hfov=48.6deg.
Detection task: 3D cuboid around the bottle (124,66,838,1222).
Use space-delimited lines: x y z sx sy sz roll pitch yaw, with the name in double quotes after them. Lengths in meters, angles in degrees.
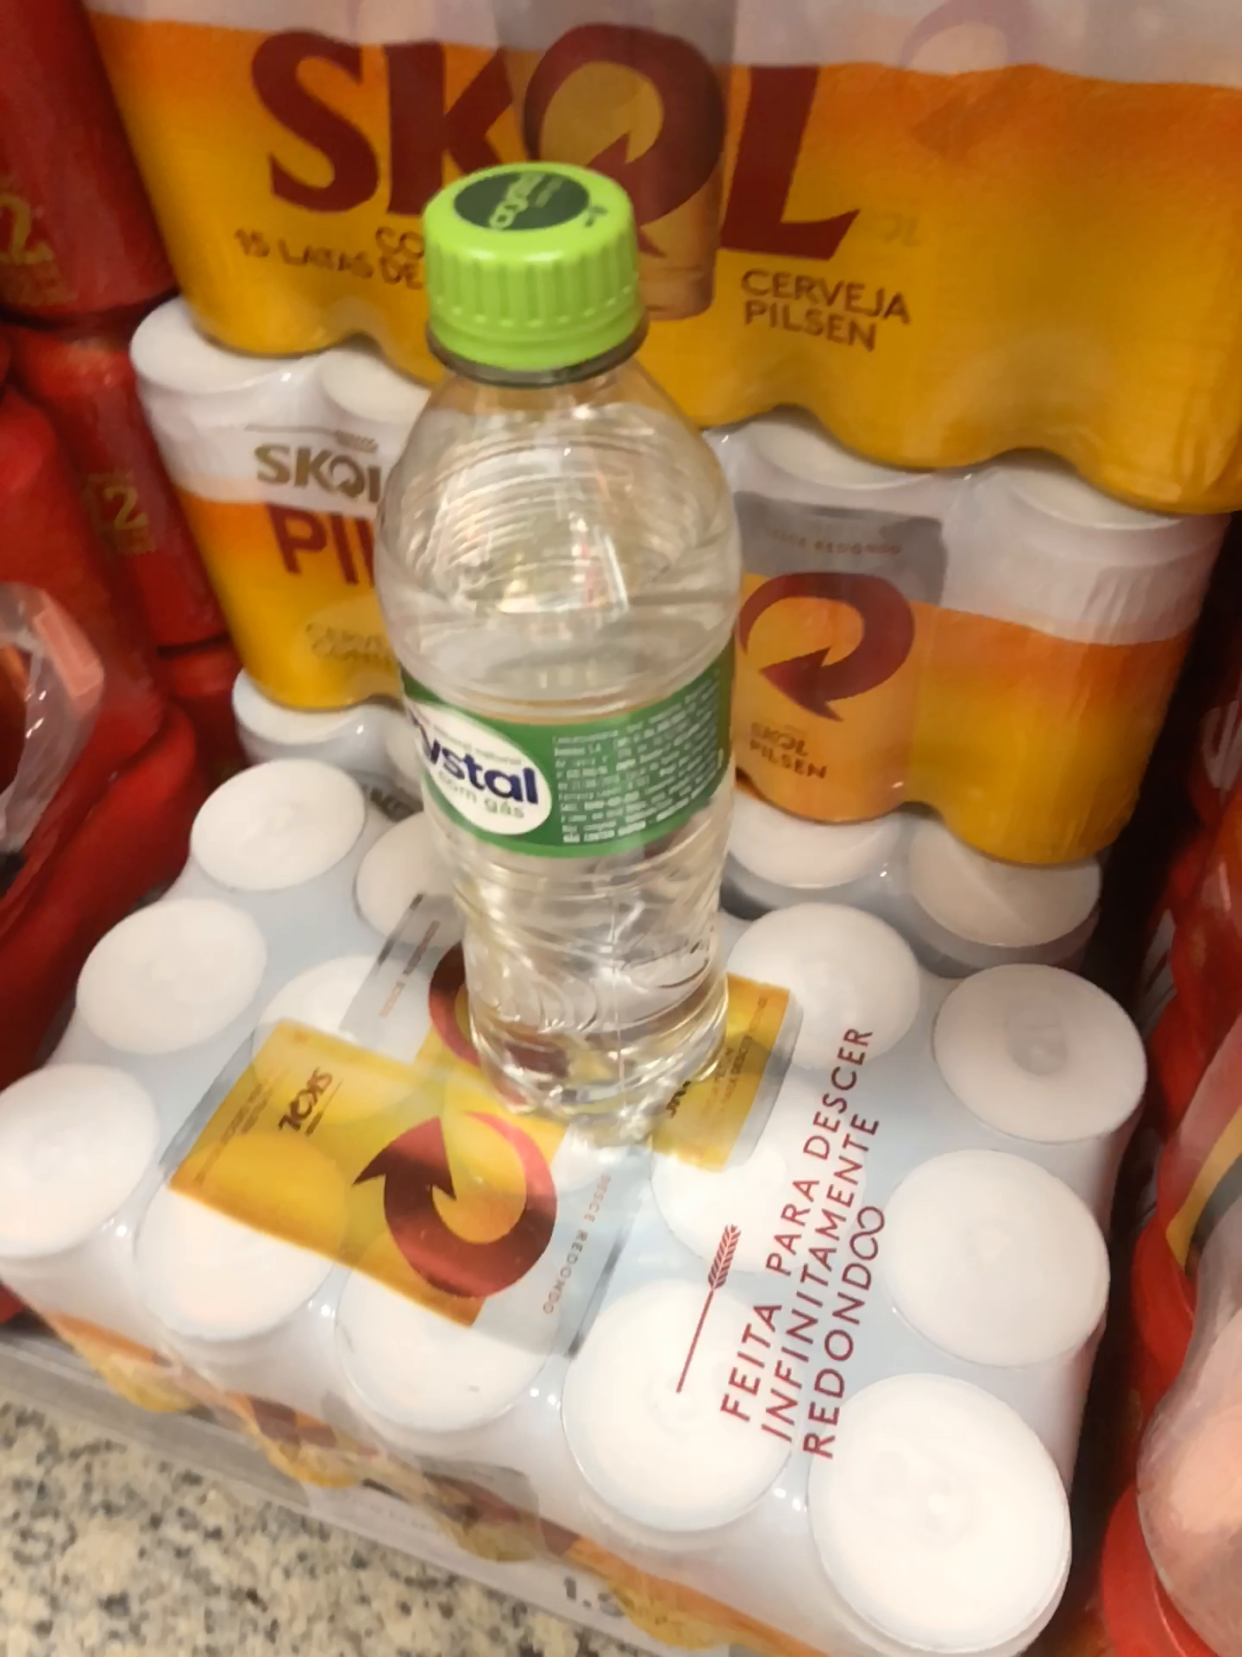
-0.009 -0.011 0.262 0.070 0.219 0.060 32 62 27 "bottle"
